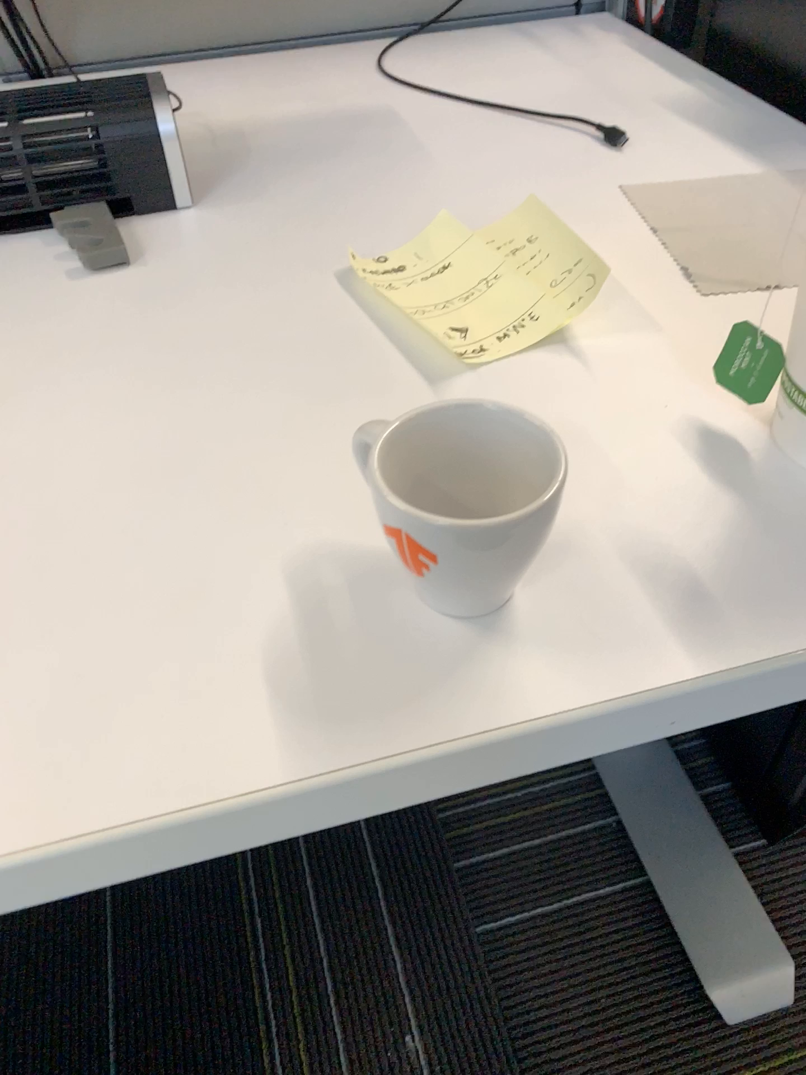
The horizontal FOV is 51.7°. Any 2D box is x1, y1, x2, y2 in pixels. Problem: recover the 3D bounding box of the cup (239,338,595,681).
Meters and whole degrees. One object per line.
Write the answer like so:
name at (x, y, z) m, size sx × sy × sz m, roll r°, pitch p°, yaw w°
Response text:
cup at (0.004, -0.015, 0.304) m, size 0.100 × 0.060 × 0.070 m, roll 33°, pitch 55°, yaw 31°
